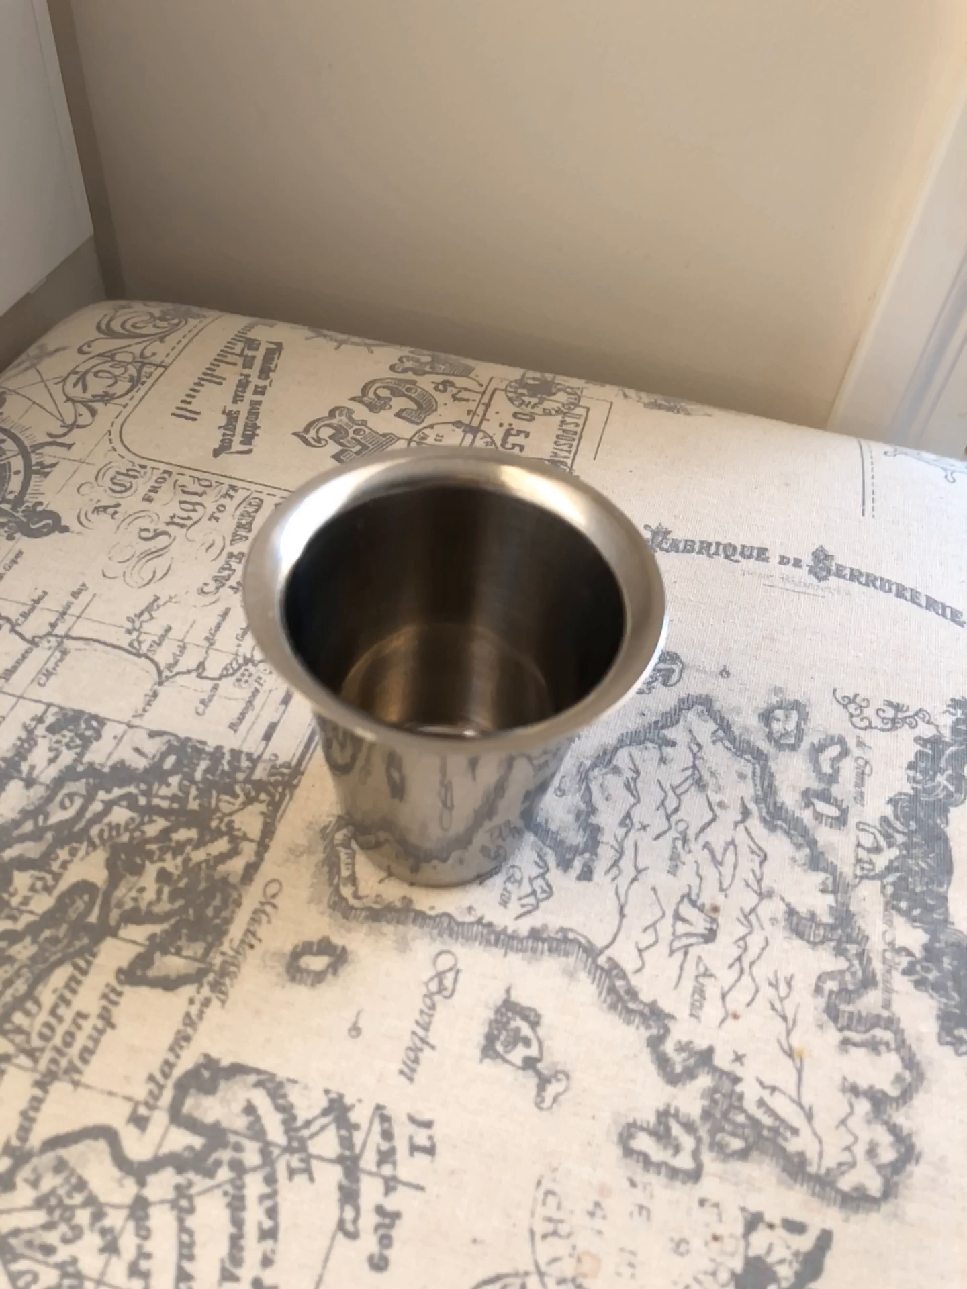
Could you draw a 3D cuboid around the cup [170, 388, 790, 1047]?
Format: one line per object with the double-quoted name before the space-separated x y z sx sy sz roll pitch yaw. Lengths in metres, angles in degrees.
"cup" -0.004 0.013 0.230 0.081 0.081 0.084 3 48 -3
